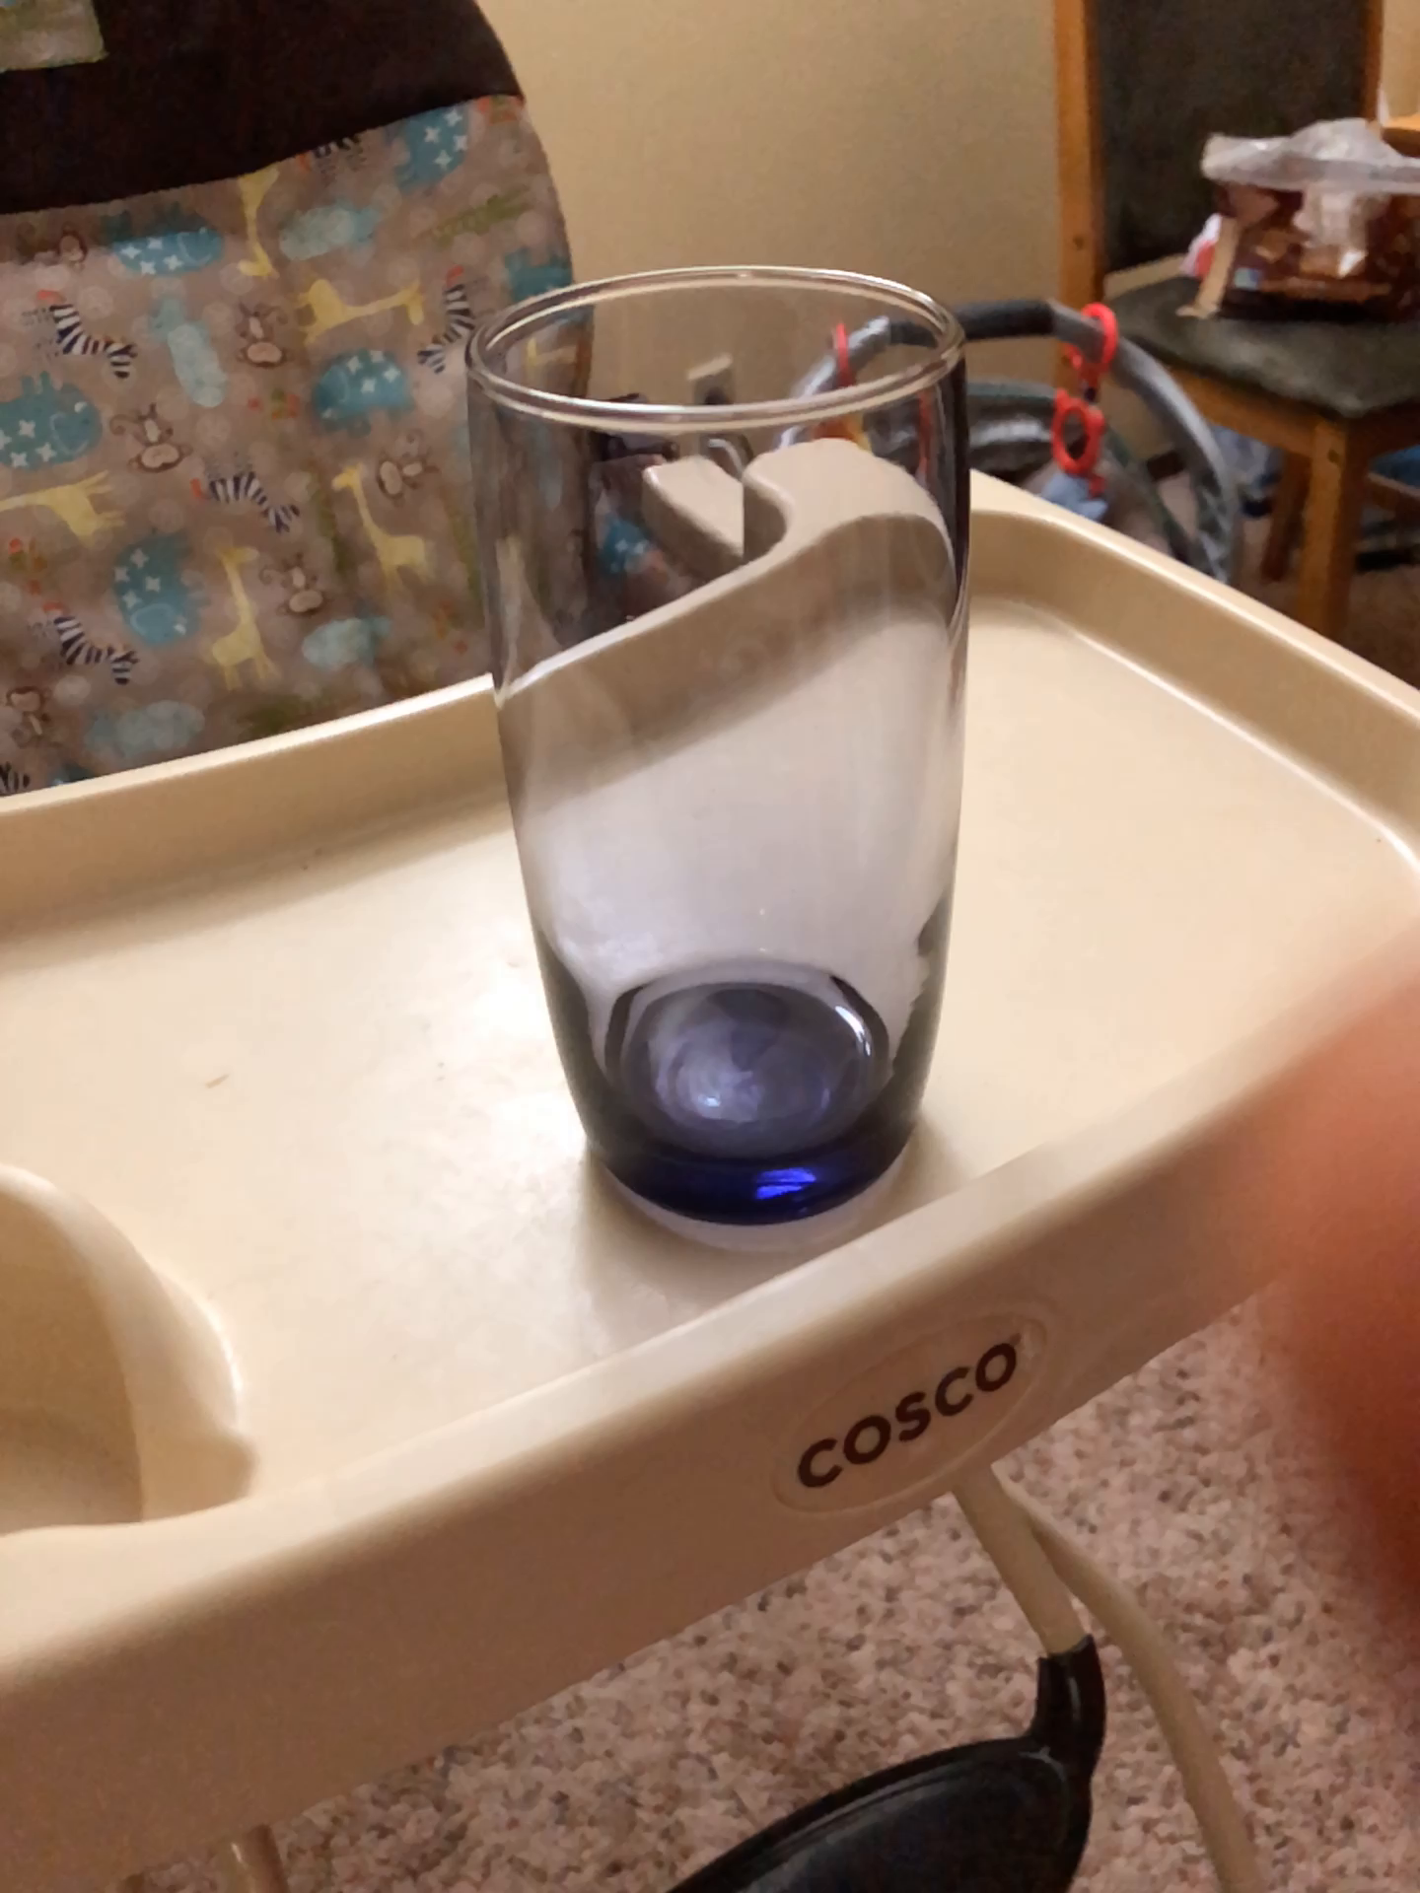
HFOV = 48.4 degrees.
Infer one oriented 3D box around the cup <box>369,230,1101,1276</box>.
[{"bbox_3d":[0.000,-0.031,0.256,0.083,0.134,0.085,-2,37,2],"label":"cup"}]
